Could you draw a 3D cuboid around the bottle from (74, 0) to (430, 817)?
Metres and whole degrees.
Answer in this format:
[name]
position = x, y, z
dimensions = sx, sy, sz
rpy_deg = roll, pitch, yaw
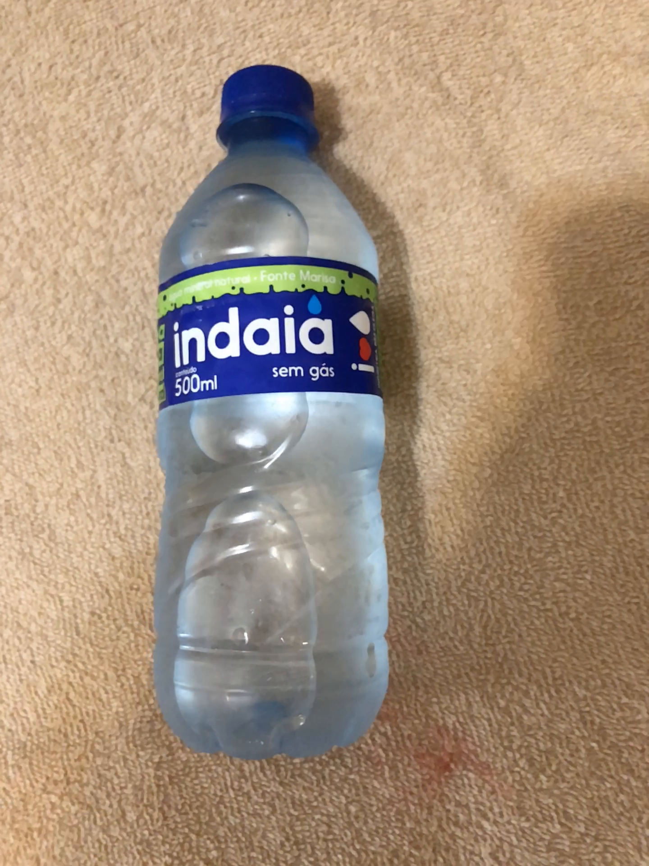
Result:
[bottle]
position = -0.020, -0.014, 0.206
dimensions = 0.080, 0.050, 0.210
rpy_deg = -5, 81, 12
